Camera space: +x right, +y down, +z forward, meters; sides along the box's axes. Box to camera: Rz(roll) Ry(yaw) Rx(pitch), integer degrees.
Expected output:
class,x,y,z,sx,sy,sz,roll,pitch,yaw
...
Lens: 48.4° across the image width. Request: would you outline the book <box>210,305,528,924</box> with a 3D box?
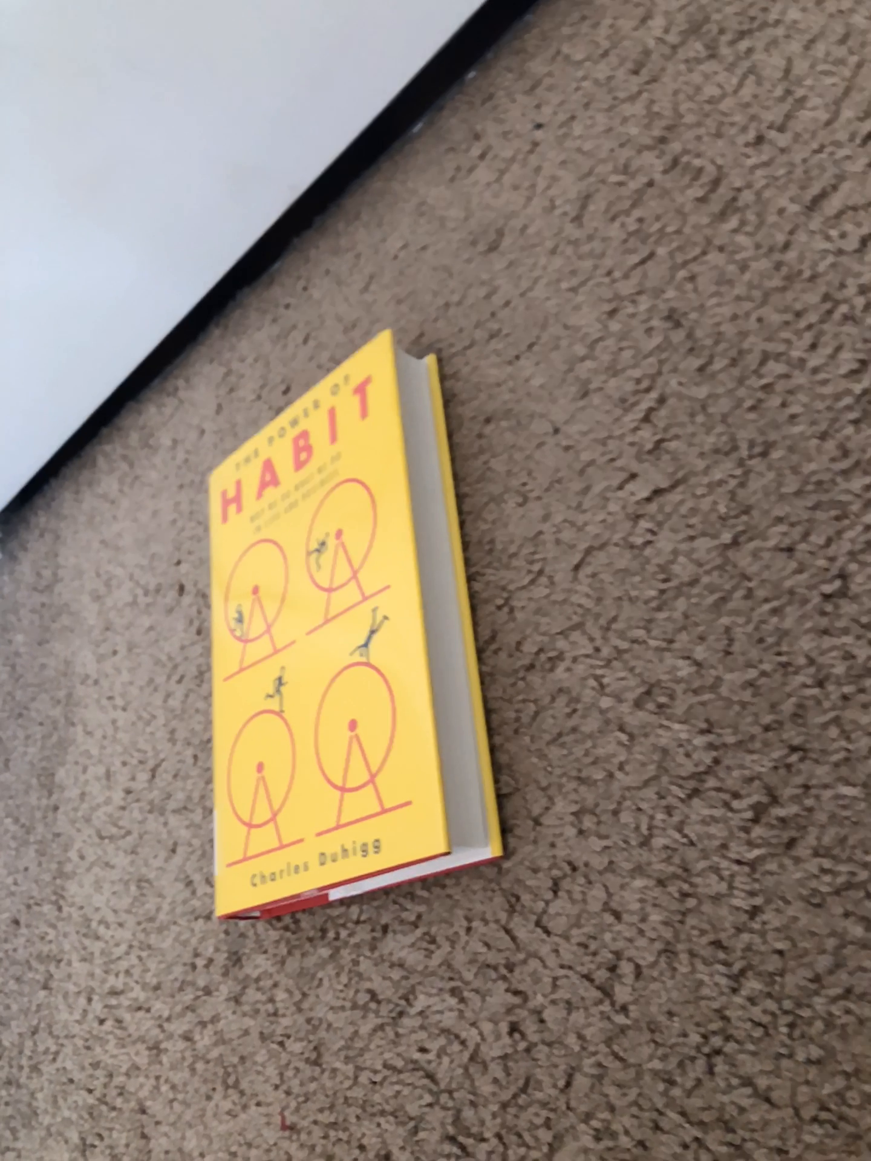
class,x,y,z,sx,sy,sz,roll,pitch,yaw
book,-0.047,0.020,0.462,0.165,0.040,0.251,-29,57,40
